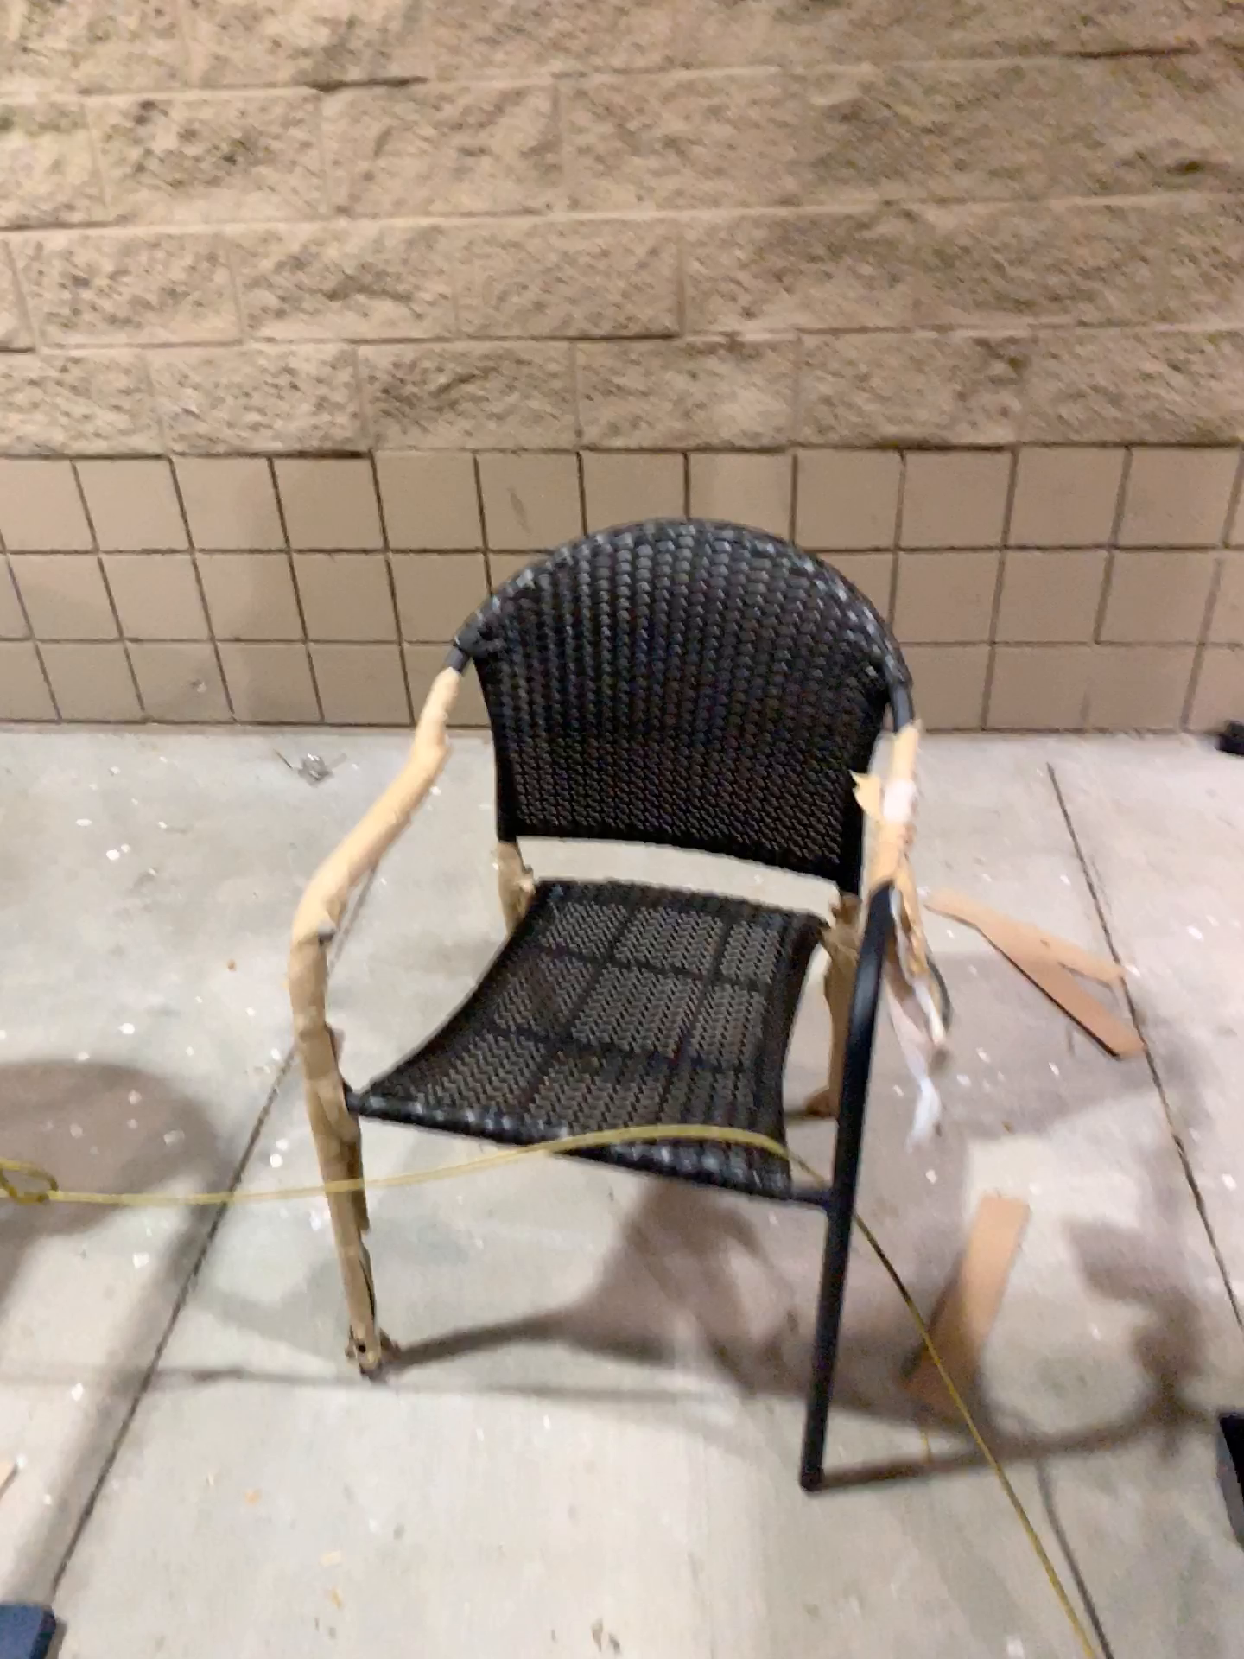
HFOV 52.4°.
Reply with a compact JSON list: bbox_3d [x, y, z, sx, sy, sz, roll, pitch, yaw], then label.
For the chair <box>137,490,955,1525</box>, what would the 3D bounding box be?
[{"bbox_3d":[0.005,0.160,1.359,0.576,0.839,0.600,7,35,14],"label":"chair"}]
